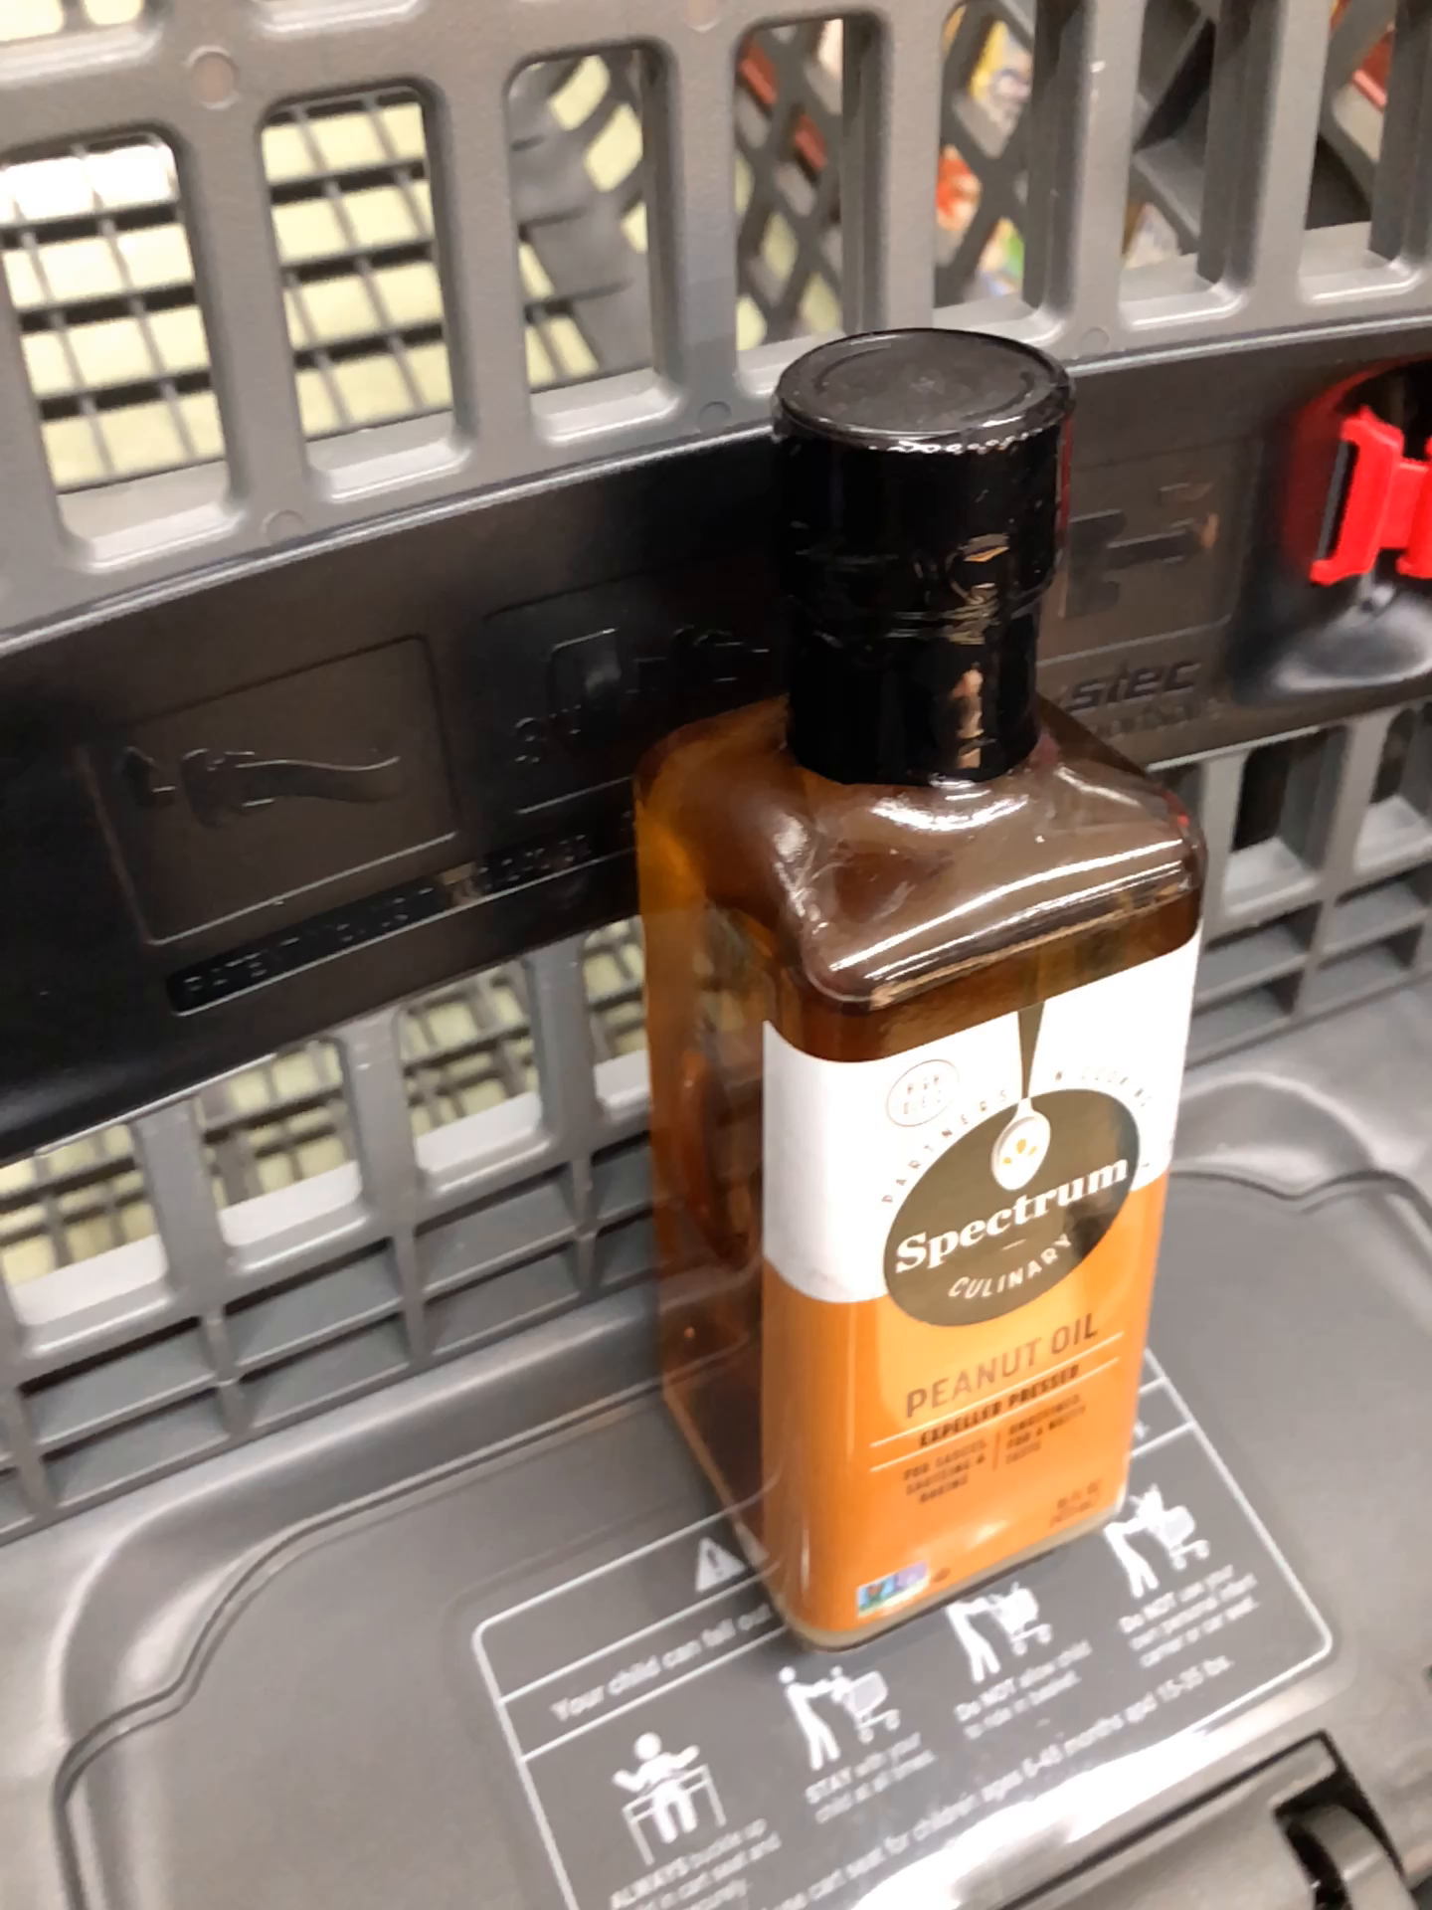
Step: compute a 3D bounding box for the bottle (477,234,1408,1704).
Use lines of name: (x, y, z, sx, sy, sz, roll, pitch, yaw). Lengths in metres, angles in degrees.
bottle: (0.024, 0.012, 0.226, 0.070, 0.190, 0.070, -2, 38, 2)
